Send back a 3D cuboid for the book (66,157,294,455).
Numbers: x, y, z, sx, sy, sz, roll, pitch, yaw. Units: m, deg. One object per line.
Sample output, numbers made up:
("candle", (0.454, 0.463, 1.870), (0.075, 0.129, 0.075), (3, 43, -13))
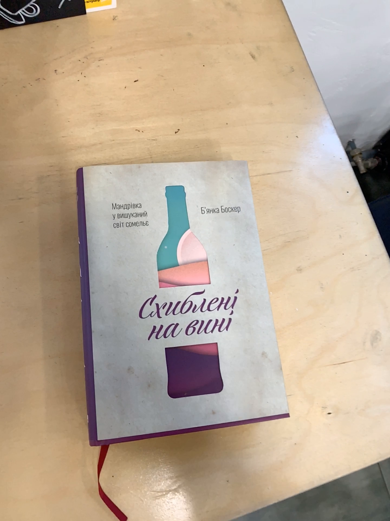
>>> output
("book", (-0.019, 0.026, 0.327), (0.150, 0.050, 0.214), (-4, 75, -10))
